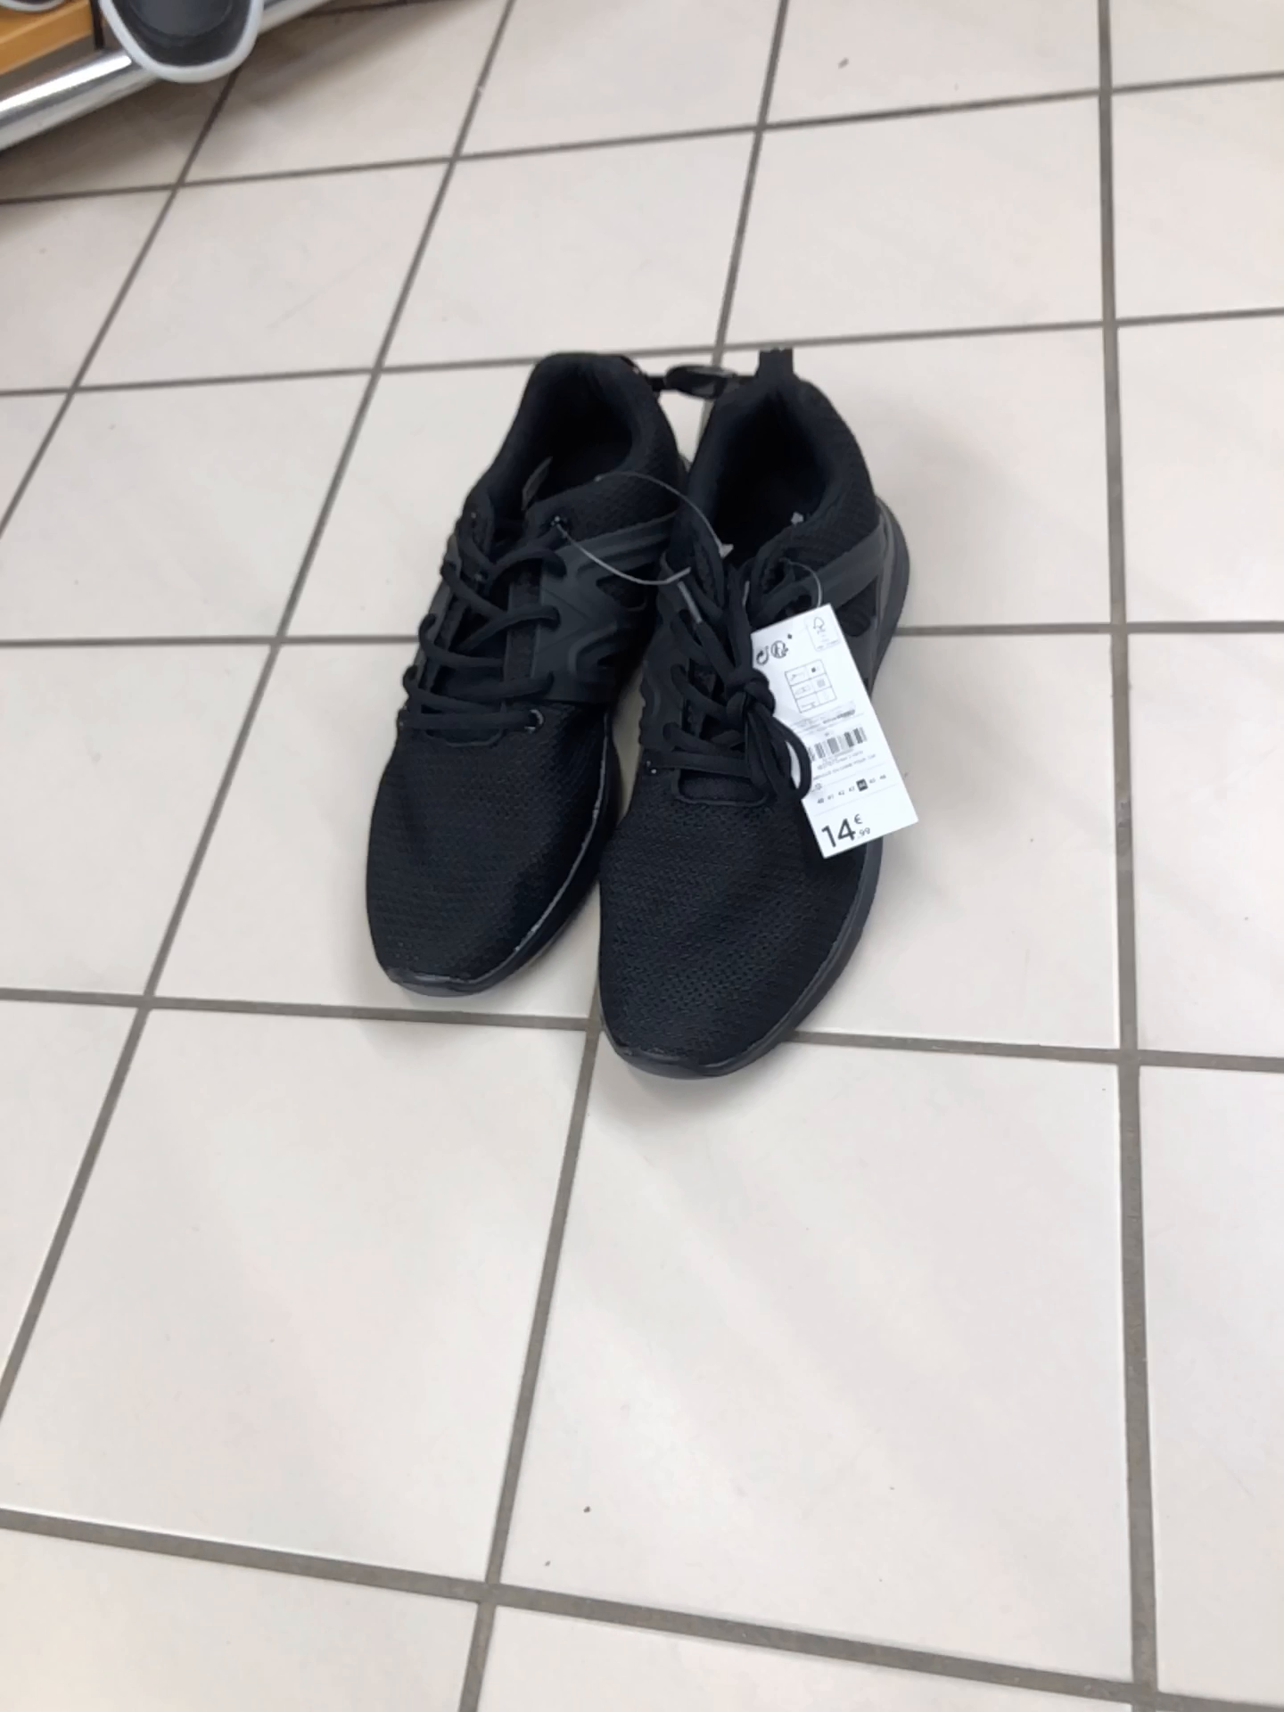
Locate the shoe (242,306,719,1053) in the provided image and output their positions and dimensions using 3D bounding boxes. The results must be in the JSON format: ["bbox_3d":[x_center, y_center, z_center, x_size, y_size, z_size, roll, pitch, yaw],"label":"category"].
[{"bbox_3d":[-0.051,-0.086,0.607,0.100,0.110,0.311,4,59,16],"label":"shoe"}]

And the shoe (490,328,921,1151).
[{"bbox_3d":[0.042,-0.057,0.557,0.100,0.110,0.311,4,59,16],"label":"shoe"}]
